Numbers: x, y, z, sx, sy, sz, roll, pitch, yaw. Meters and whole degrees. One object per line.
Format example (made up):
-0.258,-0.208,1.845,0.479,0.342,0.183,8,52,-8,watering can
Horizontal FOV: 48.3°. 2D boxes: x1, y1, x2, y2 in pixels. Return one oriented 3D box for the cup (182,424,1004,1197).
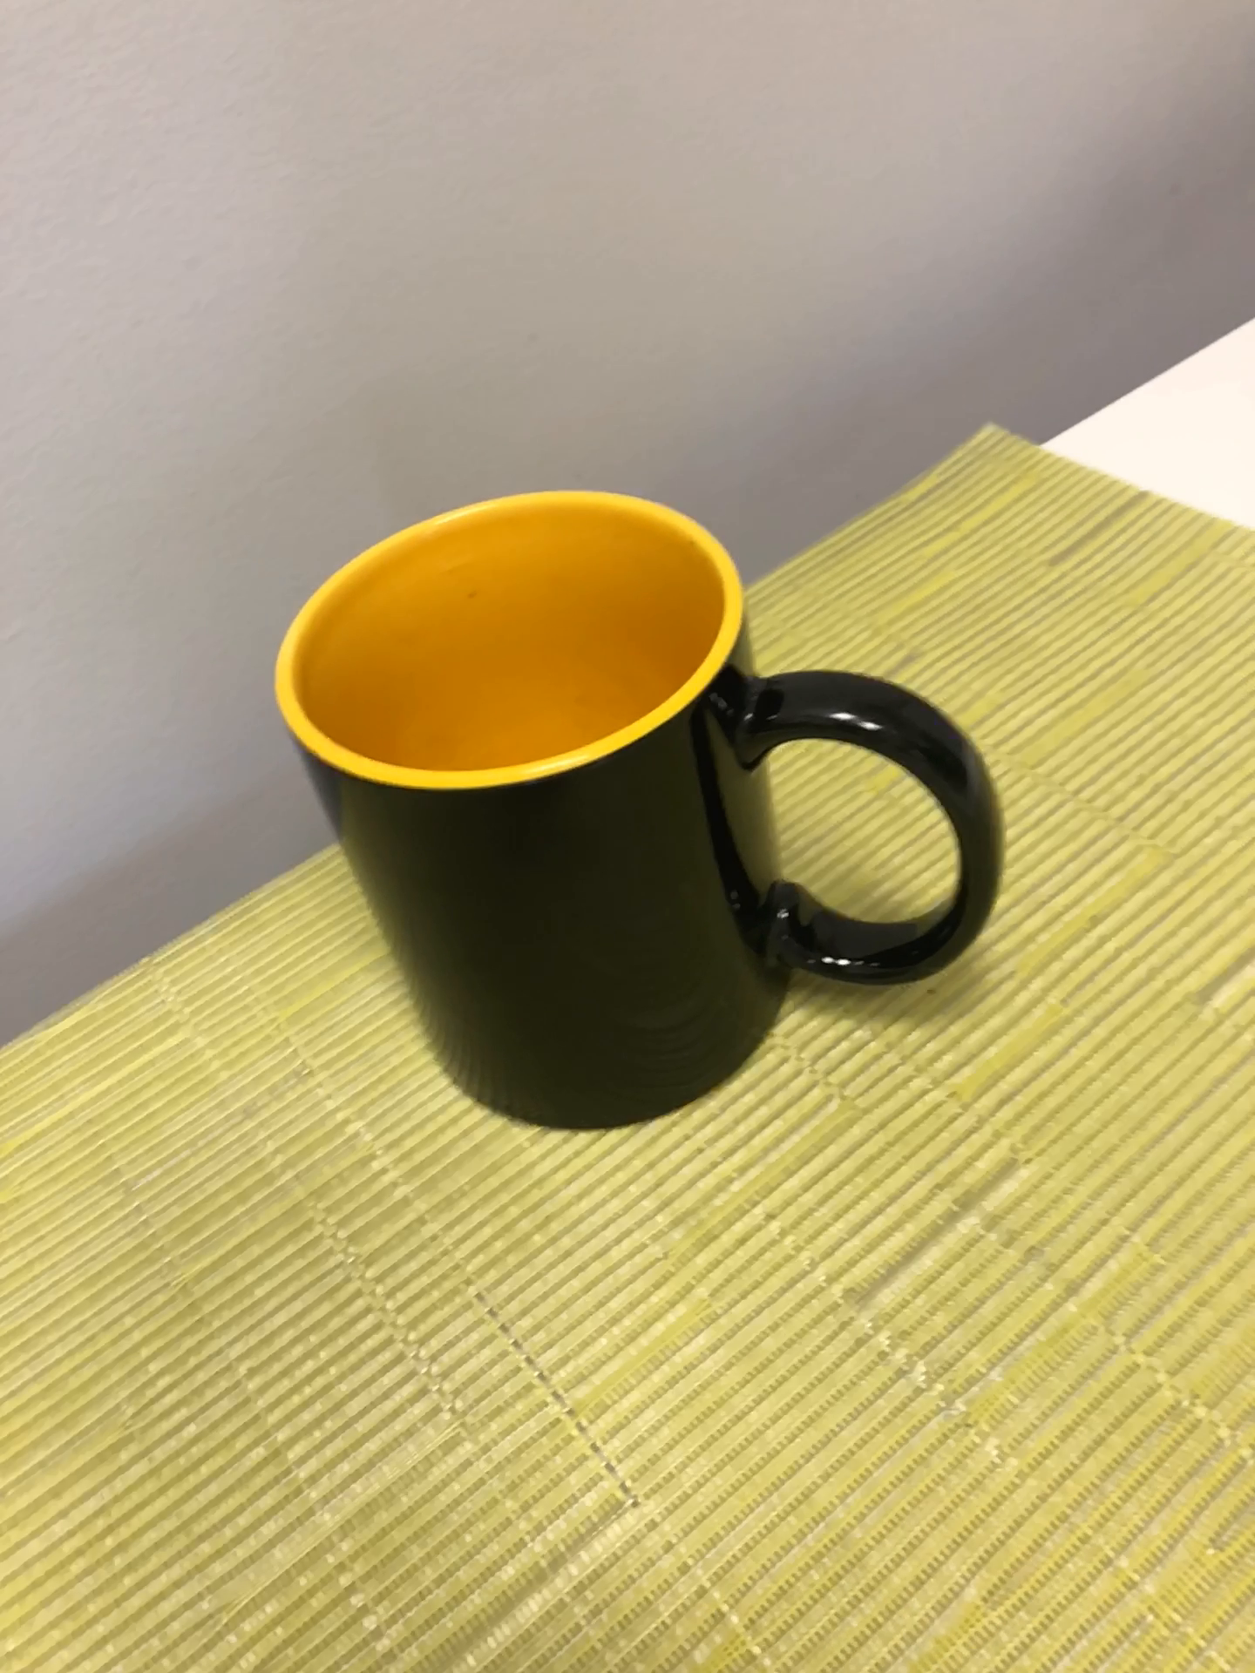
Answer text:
0.007,-0.004,0.262,0.119,0.104,0.089,1,45,14,cup
